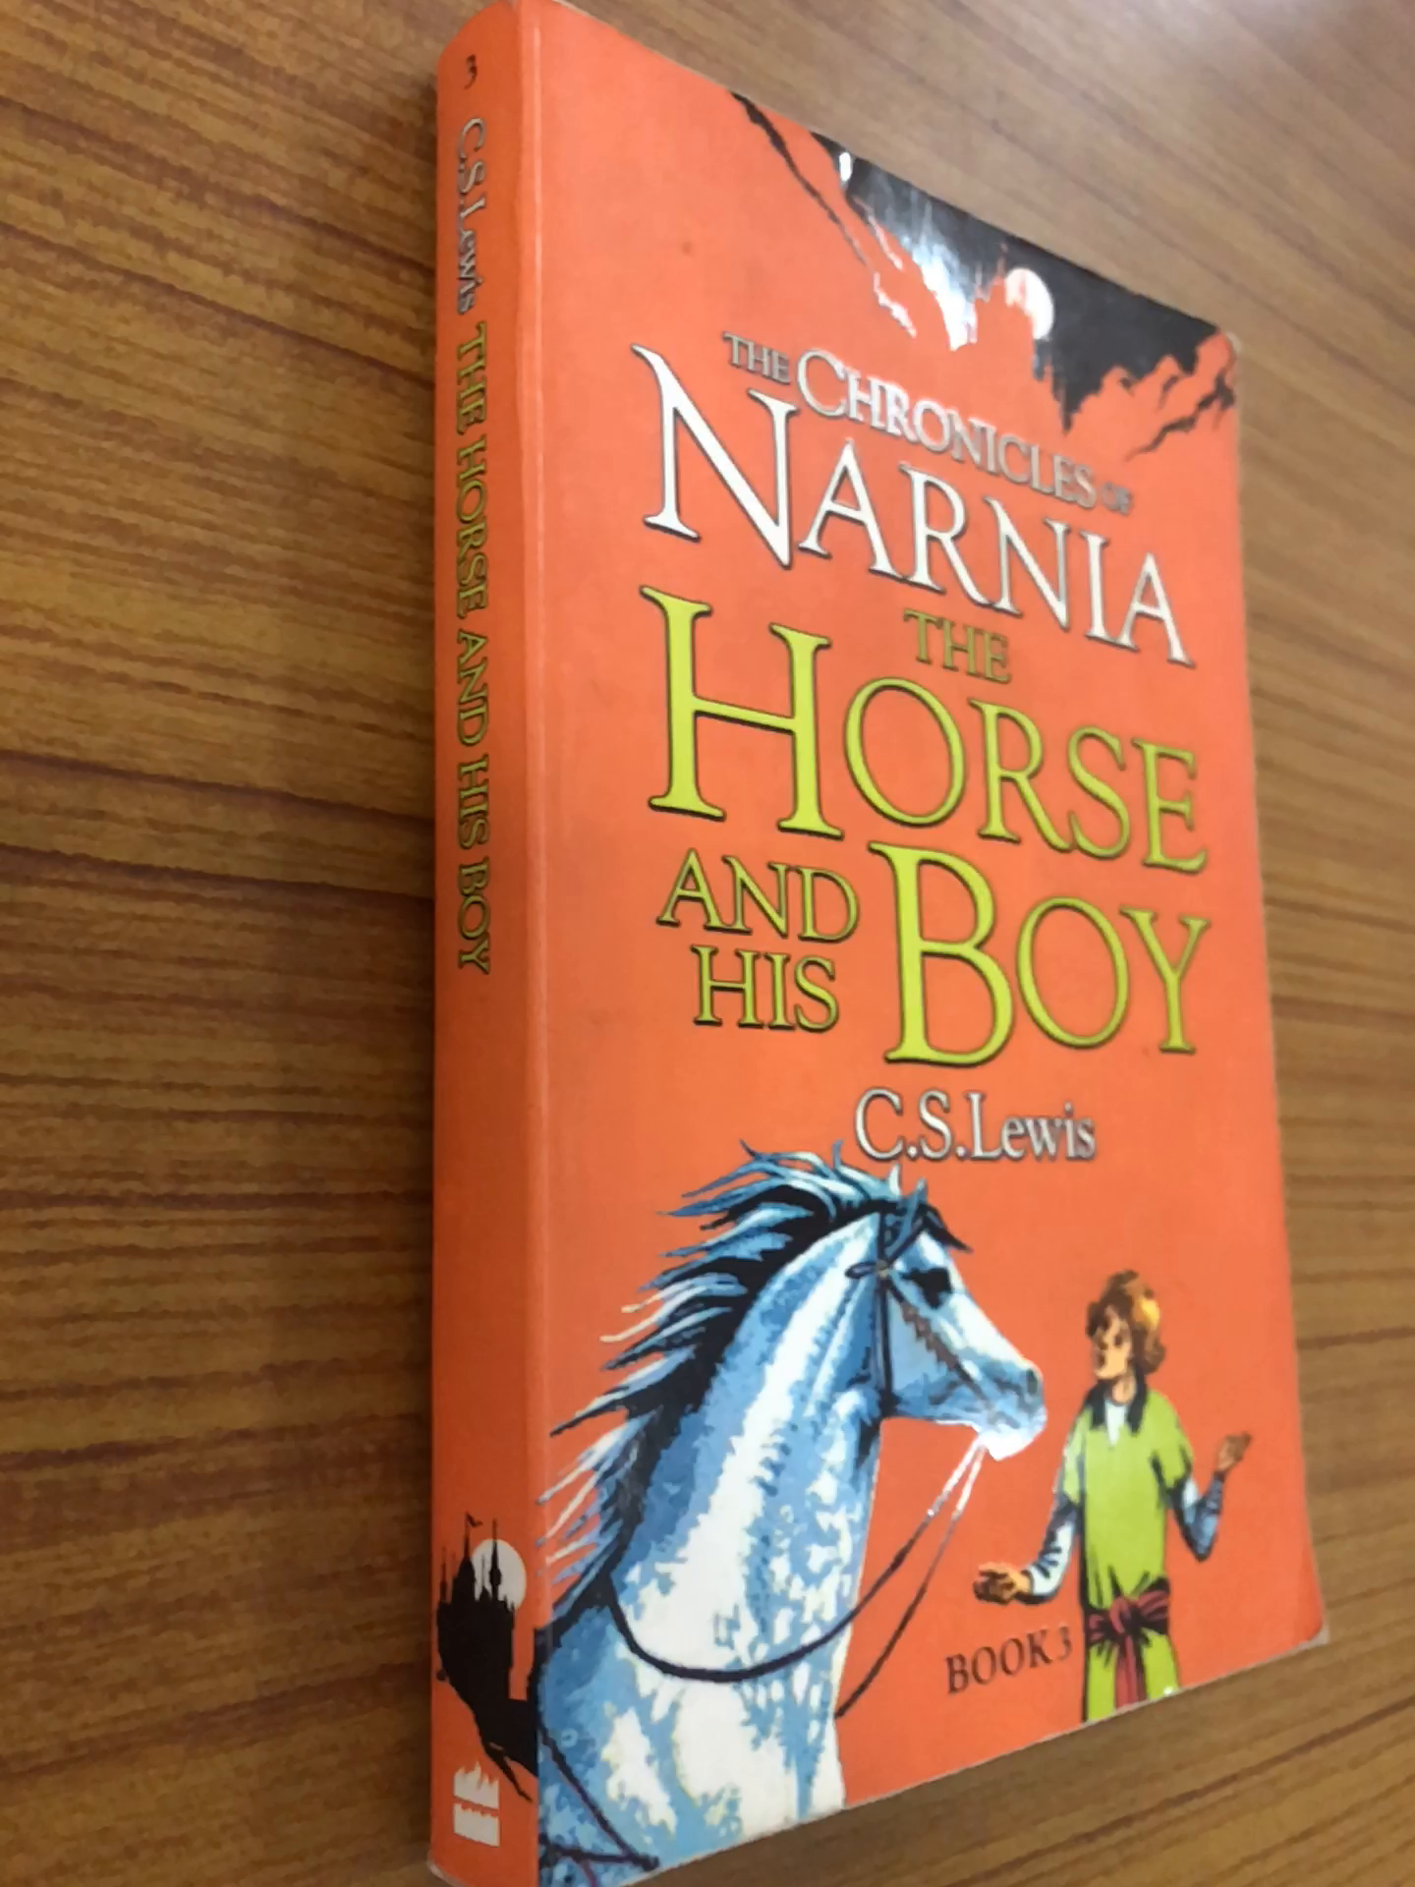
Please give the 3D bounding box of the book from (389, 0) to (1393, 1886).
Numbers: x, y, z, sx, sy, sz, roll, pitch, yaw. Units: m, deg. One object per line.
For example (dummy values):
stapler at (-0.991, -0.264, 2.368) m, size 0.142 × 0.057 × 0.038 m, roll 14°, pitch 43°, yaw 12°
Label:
book at (0.028, 0.003, 0.194) m, size 0.131 × 0.030 × 0.190 m, roll 6°, pitch 78°, yaw -40°
